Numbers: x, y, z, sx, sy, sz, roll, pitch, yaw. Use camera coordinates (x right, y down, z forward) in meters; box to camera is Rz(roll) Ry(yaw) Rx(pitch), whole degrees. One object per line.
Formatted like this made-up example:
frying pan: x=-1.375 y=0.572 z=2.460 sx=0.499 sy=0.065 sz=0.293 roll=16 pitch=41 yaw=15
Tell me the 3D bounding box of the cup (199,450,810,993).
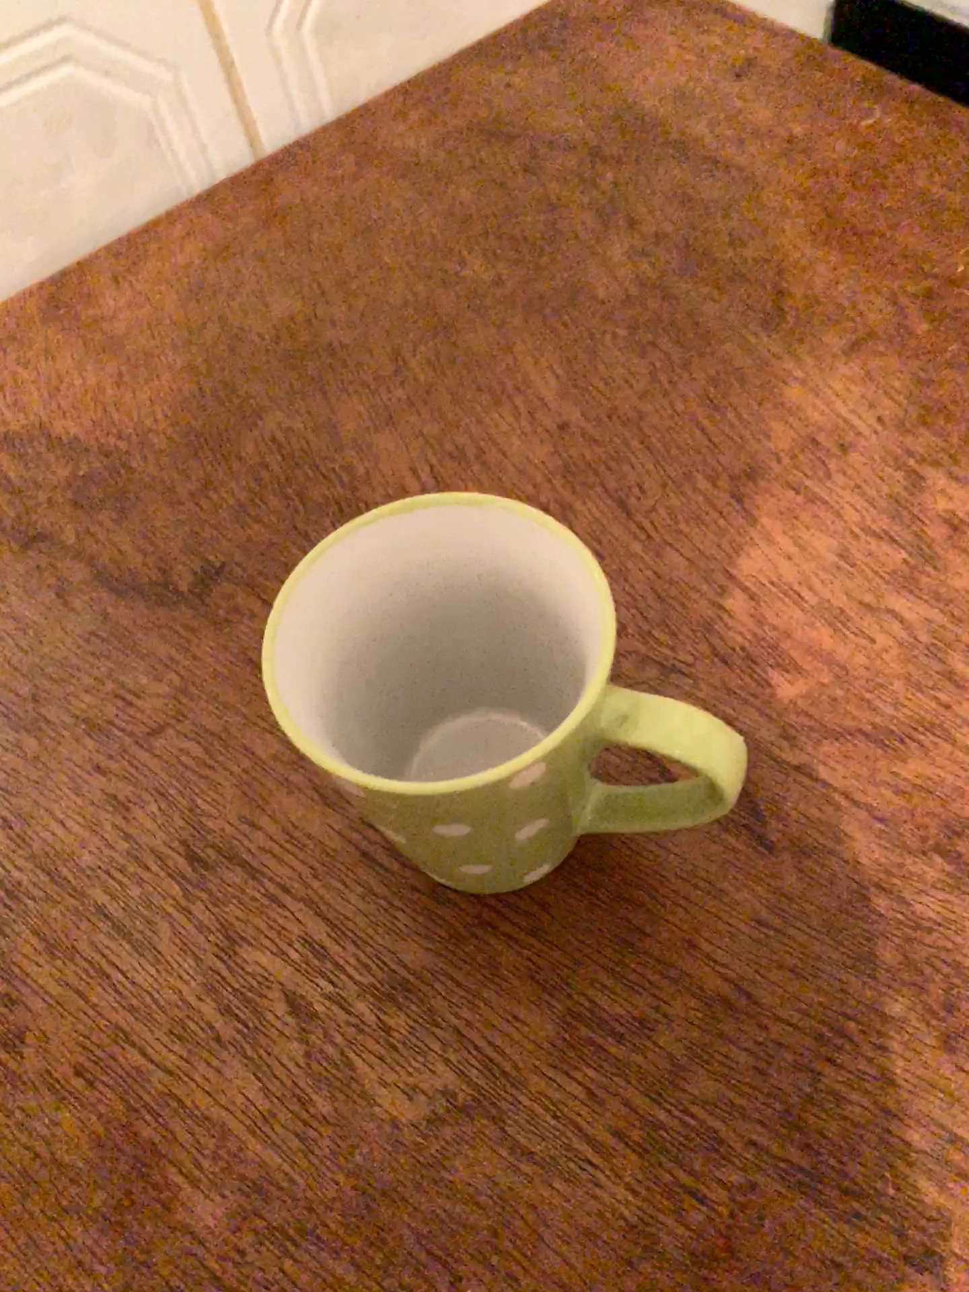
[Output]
cup: x=0.013 y=0.022 z=0.266 sx=0.120 sy=0.100 sz=0.090 roll=8 pitch=60 yaw=14
